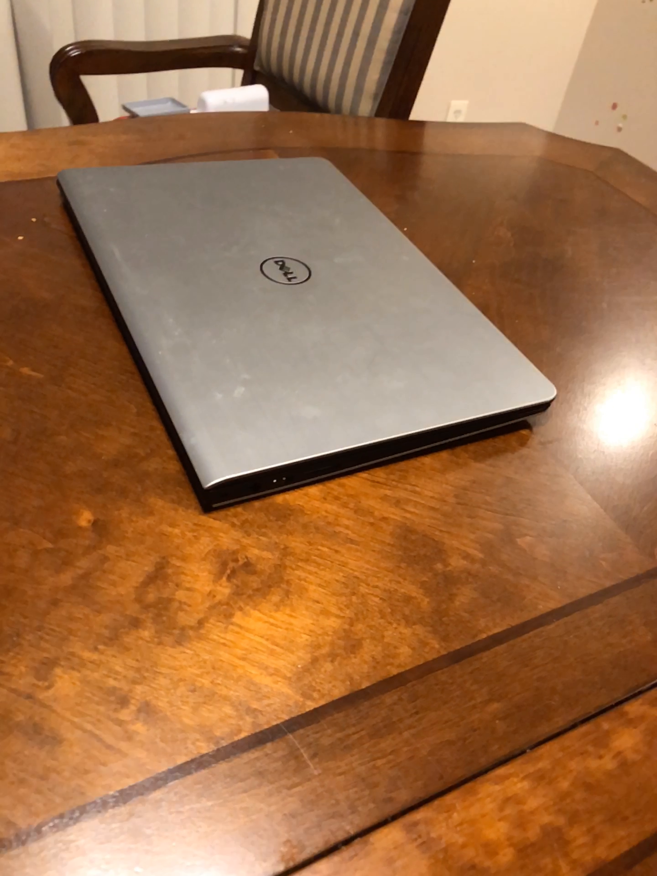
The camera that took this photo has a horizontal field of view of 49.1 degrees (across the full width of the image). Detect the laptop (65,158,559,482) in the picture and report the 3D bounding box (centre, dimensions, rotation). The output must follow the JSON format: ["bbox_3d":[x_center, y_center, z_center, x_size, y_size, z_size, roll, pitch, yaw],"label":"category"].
[{"bbox_3d":[-0.033,-0.125,0.542,0.243,0.002,0.365,-13,48,-24],"label":"laptop"}]
